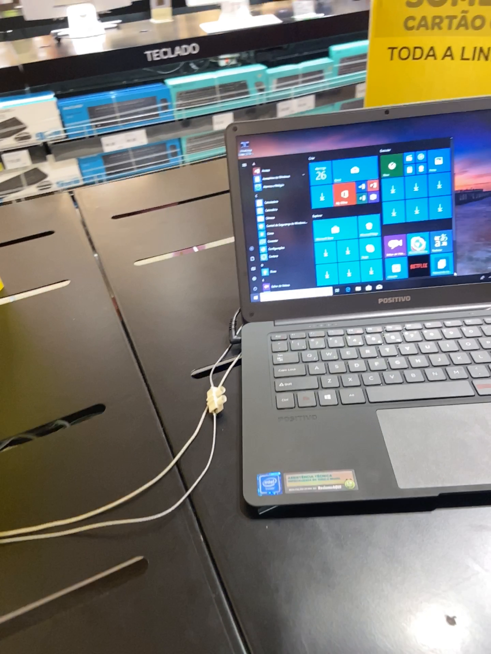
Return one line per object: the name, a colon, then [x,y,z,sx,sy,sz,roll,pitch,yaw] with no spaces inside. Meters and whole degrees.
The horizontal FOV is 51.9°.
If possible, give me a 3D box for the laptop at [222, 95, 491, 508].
laptop: [0.141,-0.046,0.395,0.296,0.159,0.293,-5,37,3]
